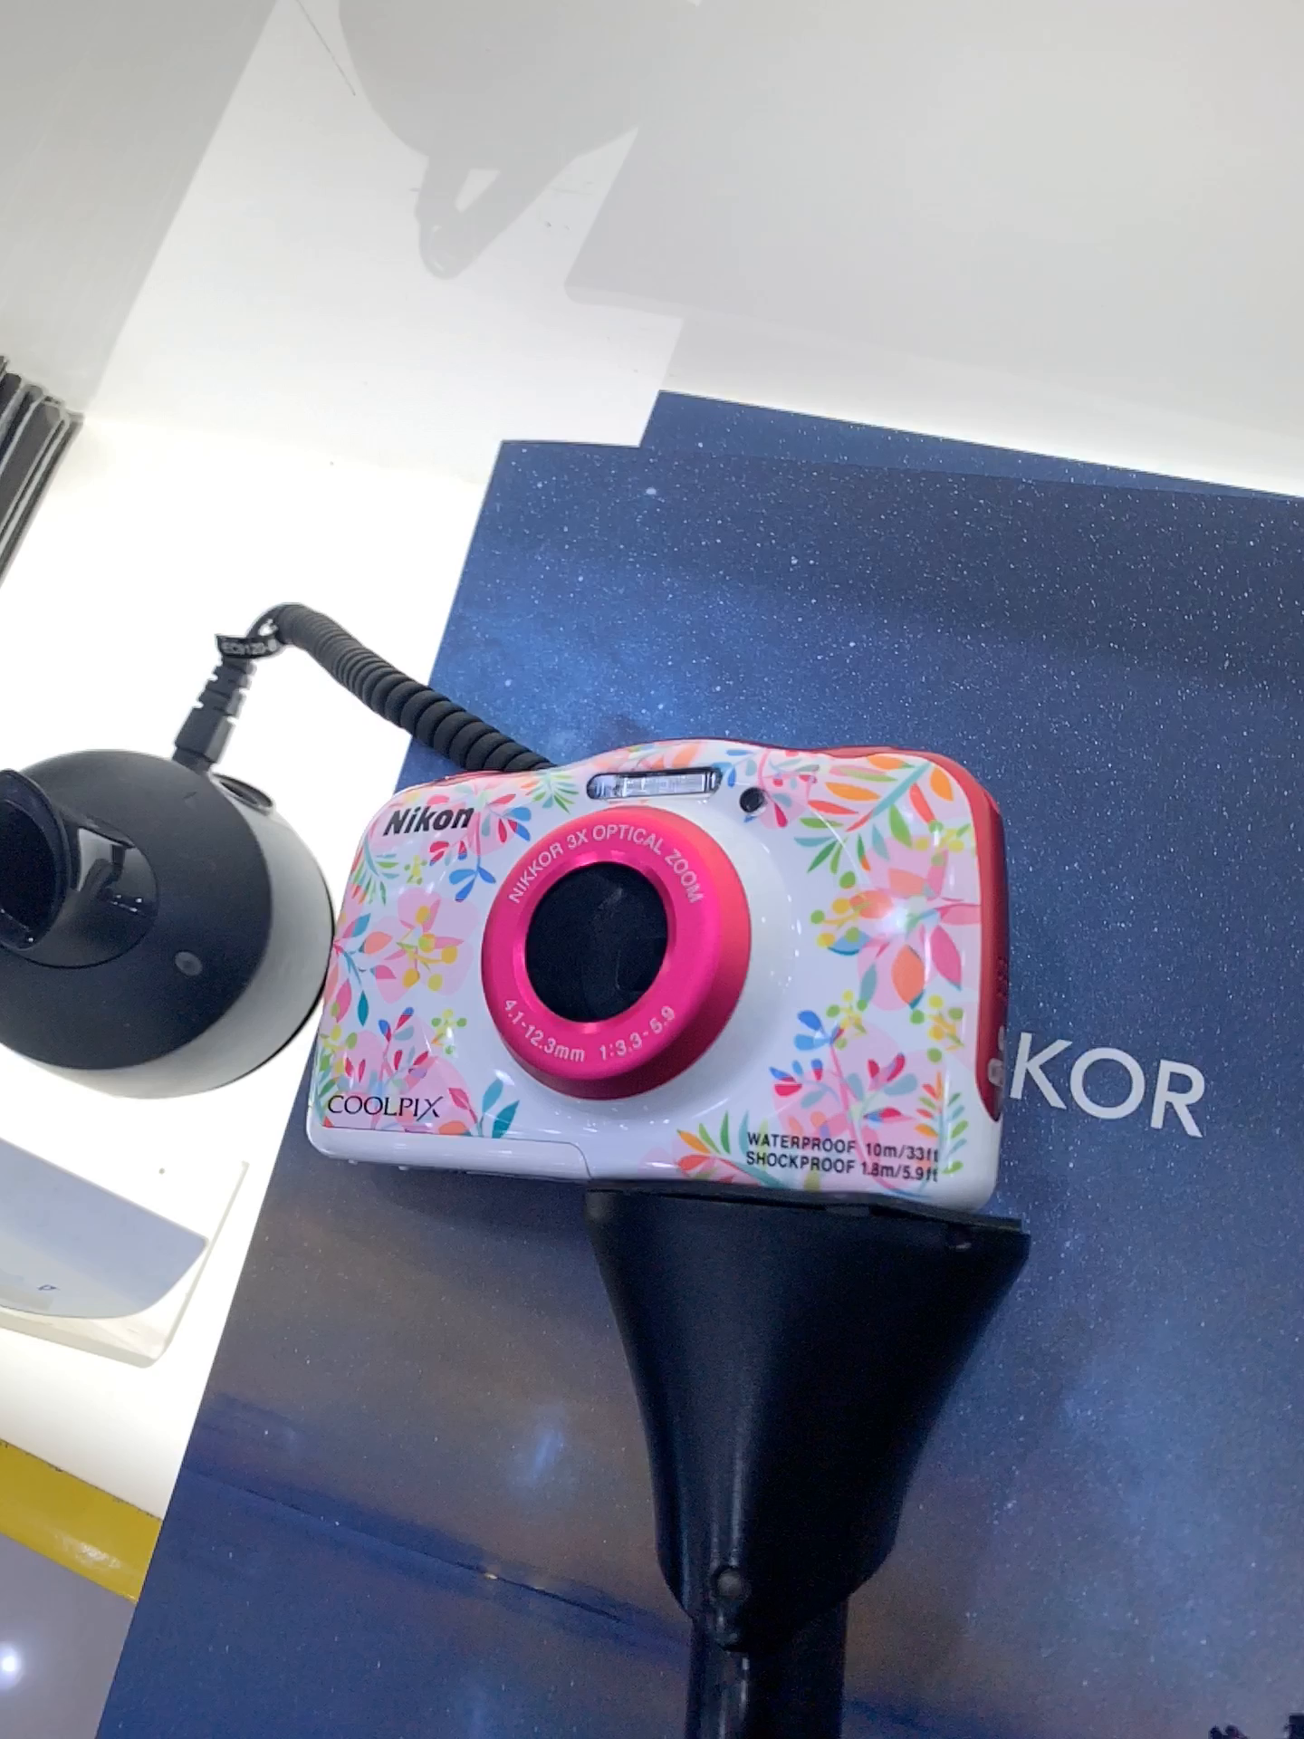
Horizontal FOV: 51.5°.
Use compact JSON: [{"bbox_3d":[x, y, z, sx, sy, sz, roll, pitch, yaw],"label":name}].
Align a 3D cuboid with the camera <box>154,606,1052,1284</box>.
[{"bbox_3d":[-0.001,0.009,0.193,0.110,0.040,0.080,1,66,16],"label":"camera"}]
